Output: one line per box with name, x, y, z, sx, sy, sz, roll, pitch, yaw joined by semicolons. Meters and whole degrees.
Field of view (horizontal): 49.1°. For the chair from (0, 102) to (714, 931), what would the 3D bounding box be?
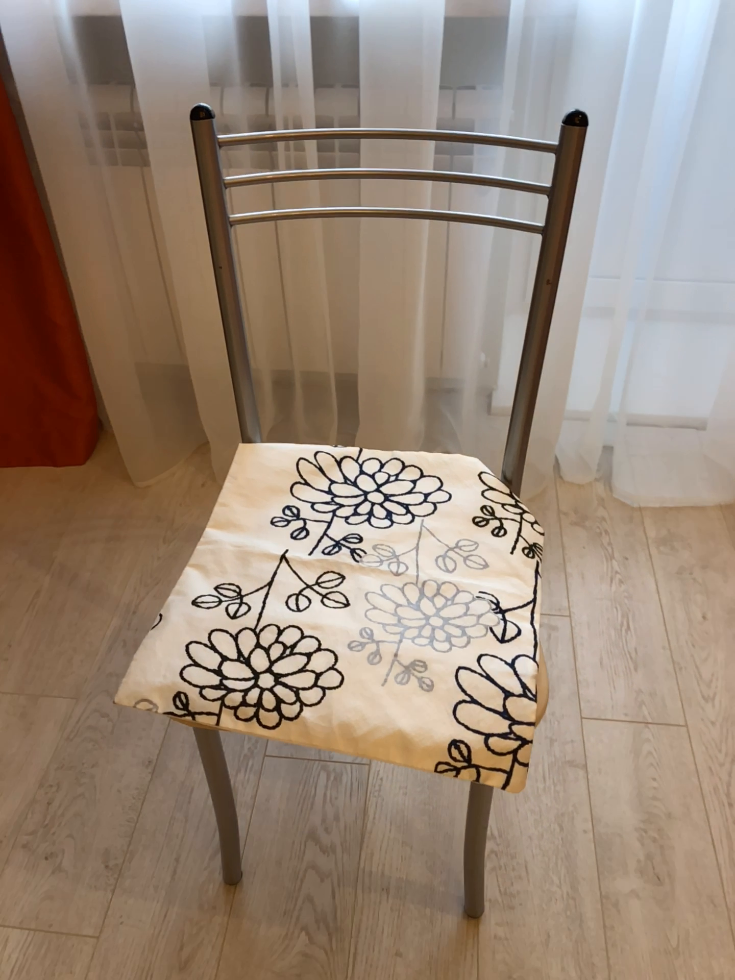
chair;0.010;0.067;0.880;0.420;0.794;0.443;3;41;5
